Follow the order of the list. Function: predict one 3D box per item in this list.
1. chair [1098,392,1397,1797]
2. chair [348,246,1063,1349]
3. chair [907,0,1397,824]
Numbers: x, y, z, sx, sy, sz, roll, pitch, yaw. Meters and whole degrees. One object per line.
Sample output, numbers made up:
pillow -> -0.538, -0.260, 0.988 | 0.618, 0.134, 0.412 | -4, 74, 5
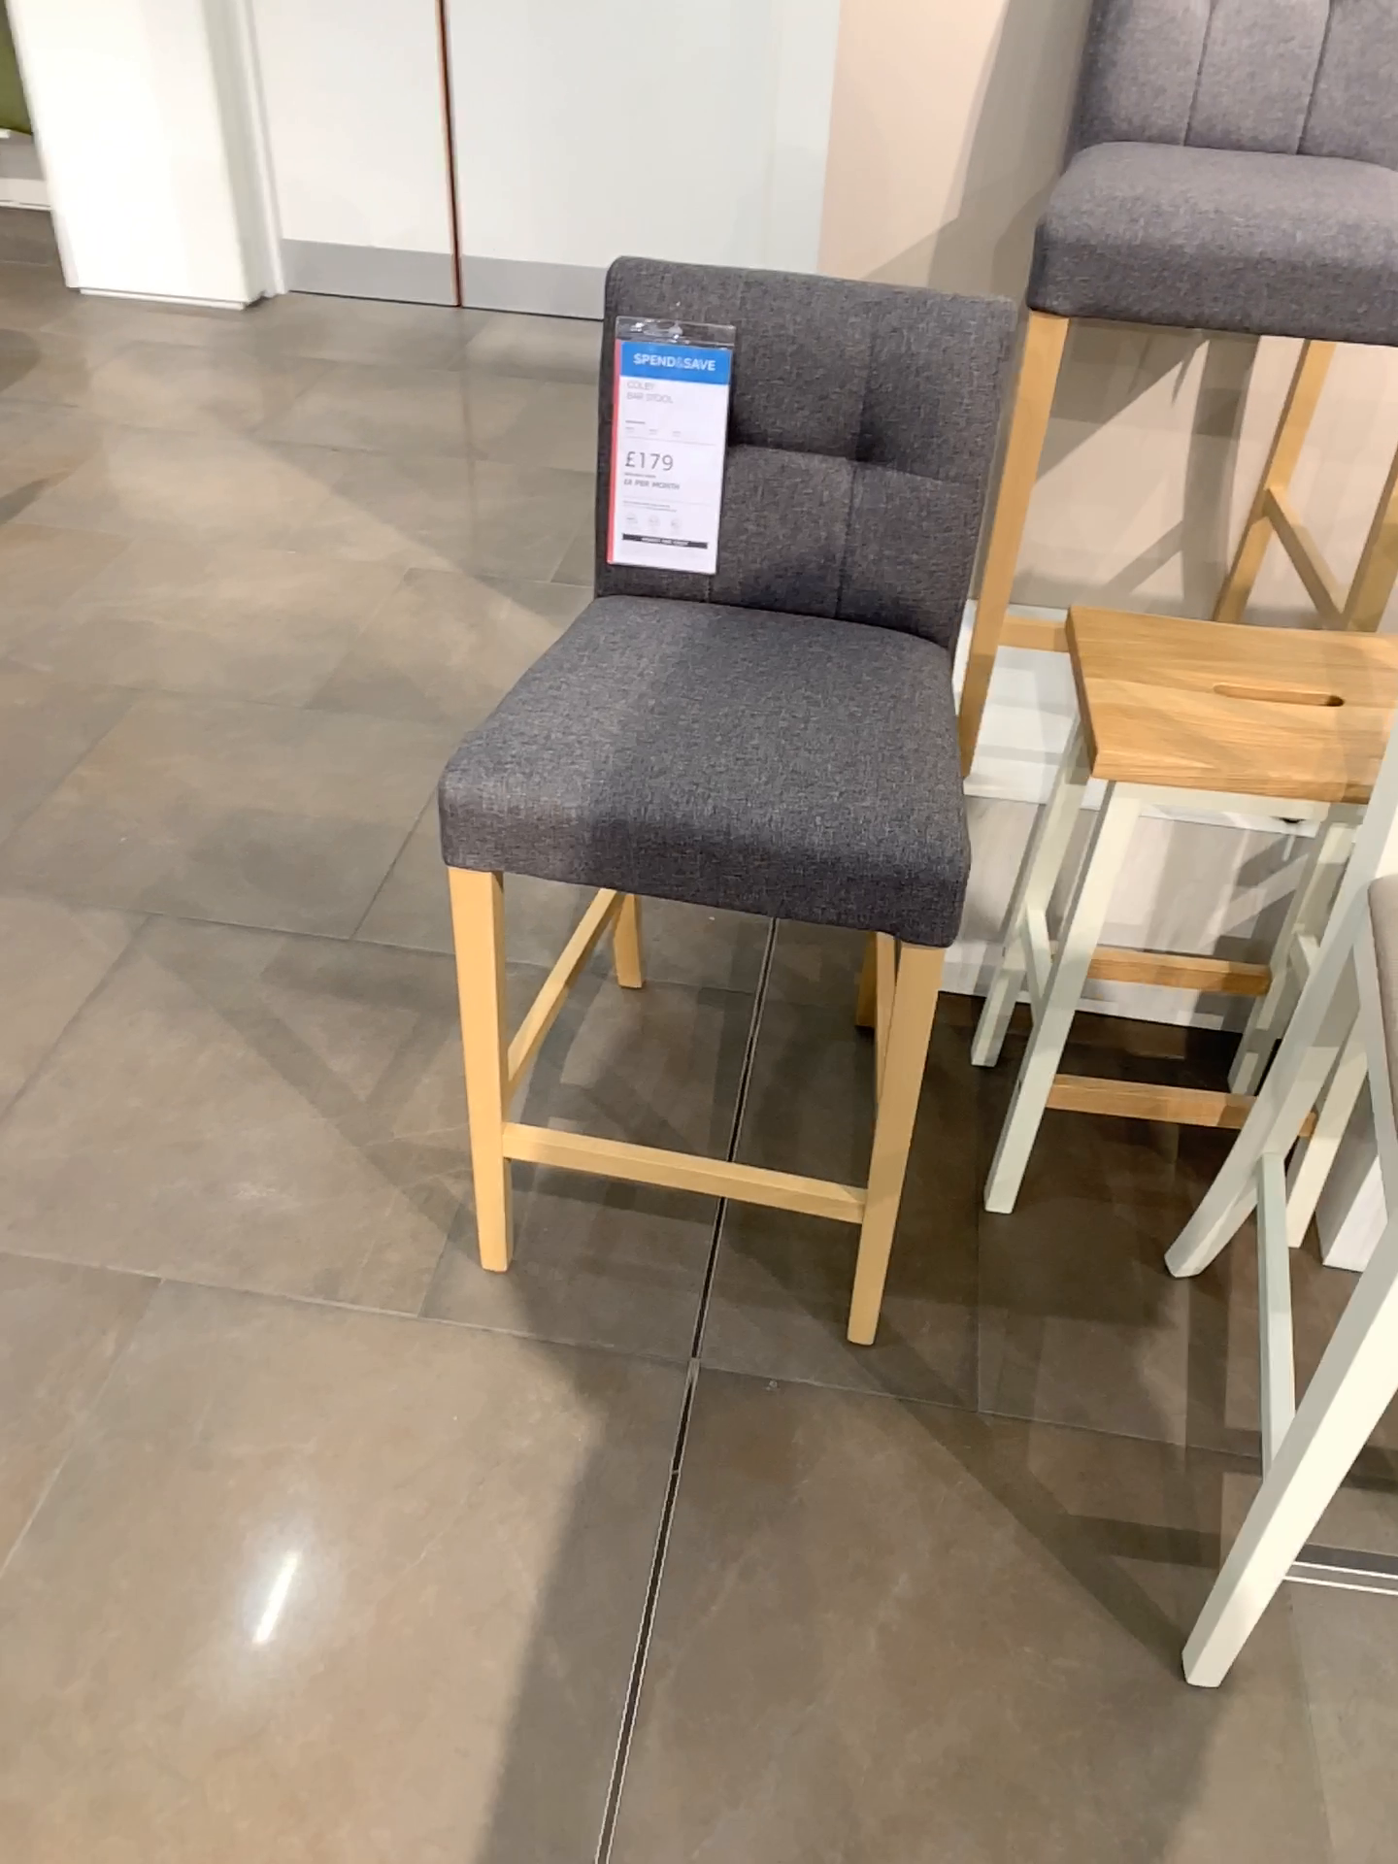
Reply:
chair -> 0.684, 0.159, 1.111 | 0.506, 0.937, 0.503 | 8, 38, 6
chair -> 0.024, -0.117, 1.433 | 0.486, 0.908, 0.523 | 8, 38, 7
chair -> 0.588, -0.691, 1.648 | 0.546, 0.918, 0.544 | 8, 38, 6
